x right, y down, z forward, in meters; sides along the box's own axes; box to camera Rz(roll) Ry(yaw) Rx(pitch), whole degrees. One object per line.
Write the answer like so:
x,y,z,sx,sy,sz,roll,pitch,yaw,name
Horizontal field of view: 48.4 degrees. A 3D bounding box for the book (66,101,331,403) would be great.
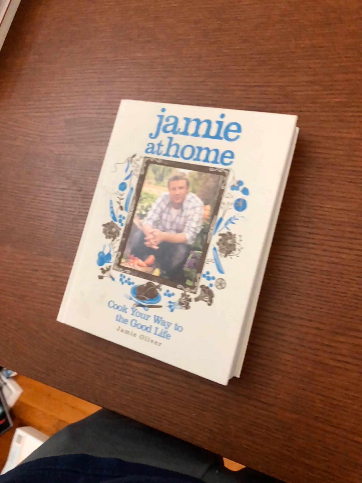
0.013,-0.007,0.417,0.211,0.040,0.260,14,85,25,book
